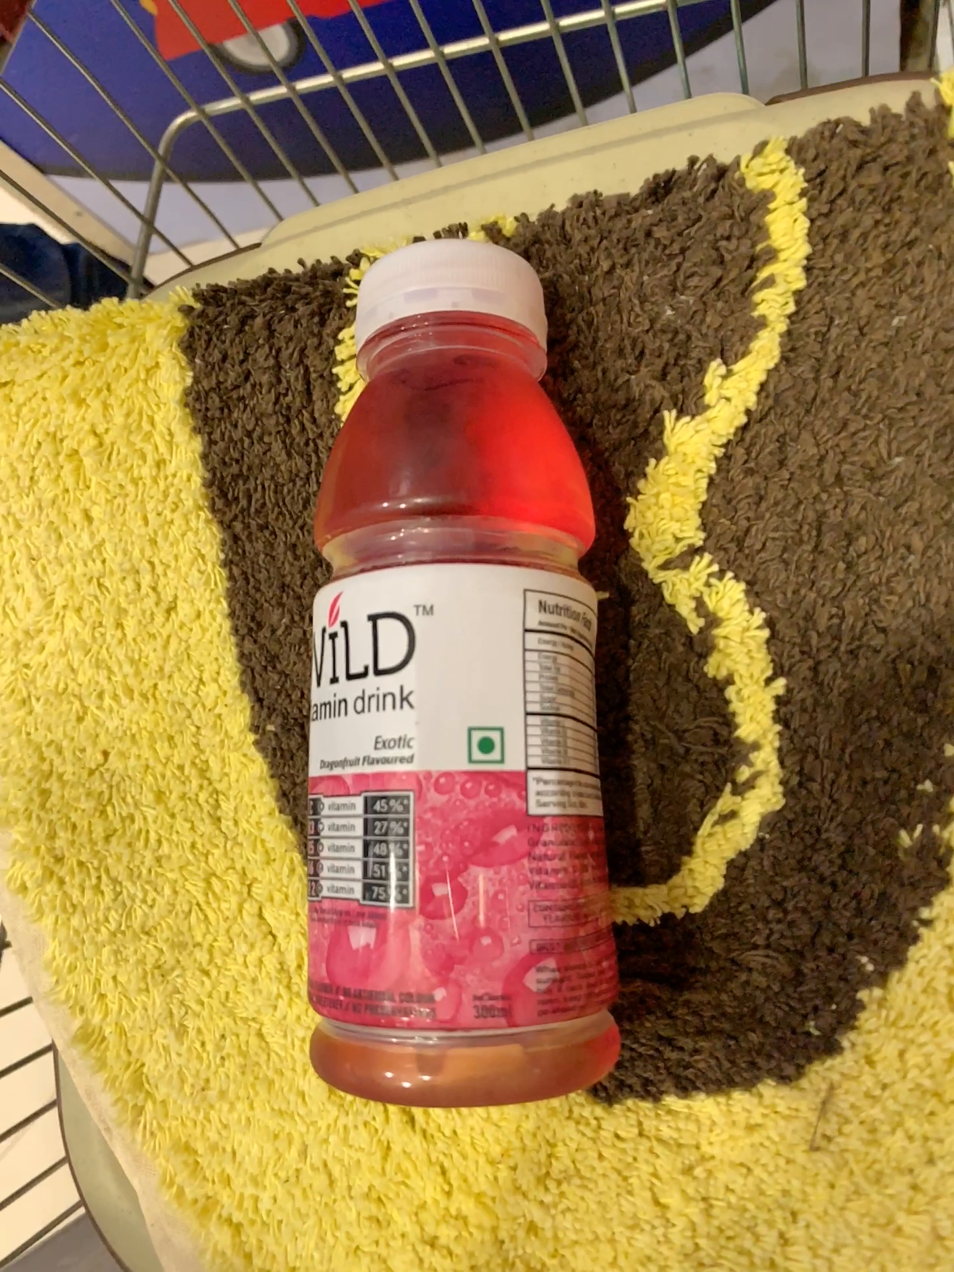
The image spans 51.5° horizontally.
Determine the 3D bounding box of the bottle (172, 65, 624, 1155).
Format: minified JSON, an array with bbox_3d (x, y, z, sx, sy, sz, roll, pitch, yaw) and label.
[{"bbox_3d":[-0.014,-0.006,0.188,0.060,0.050,0.170,-11,73,42],"label":"bottle"}]
